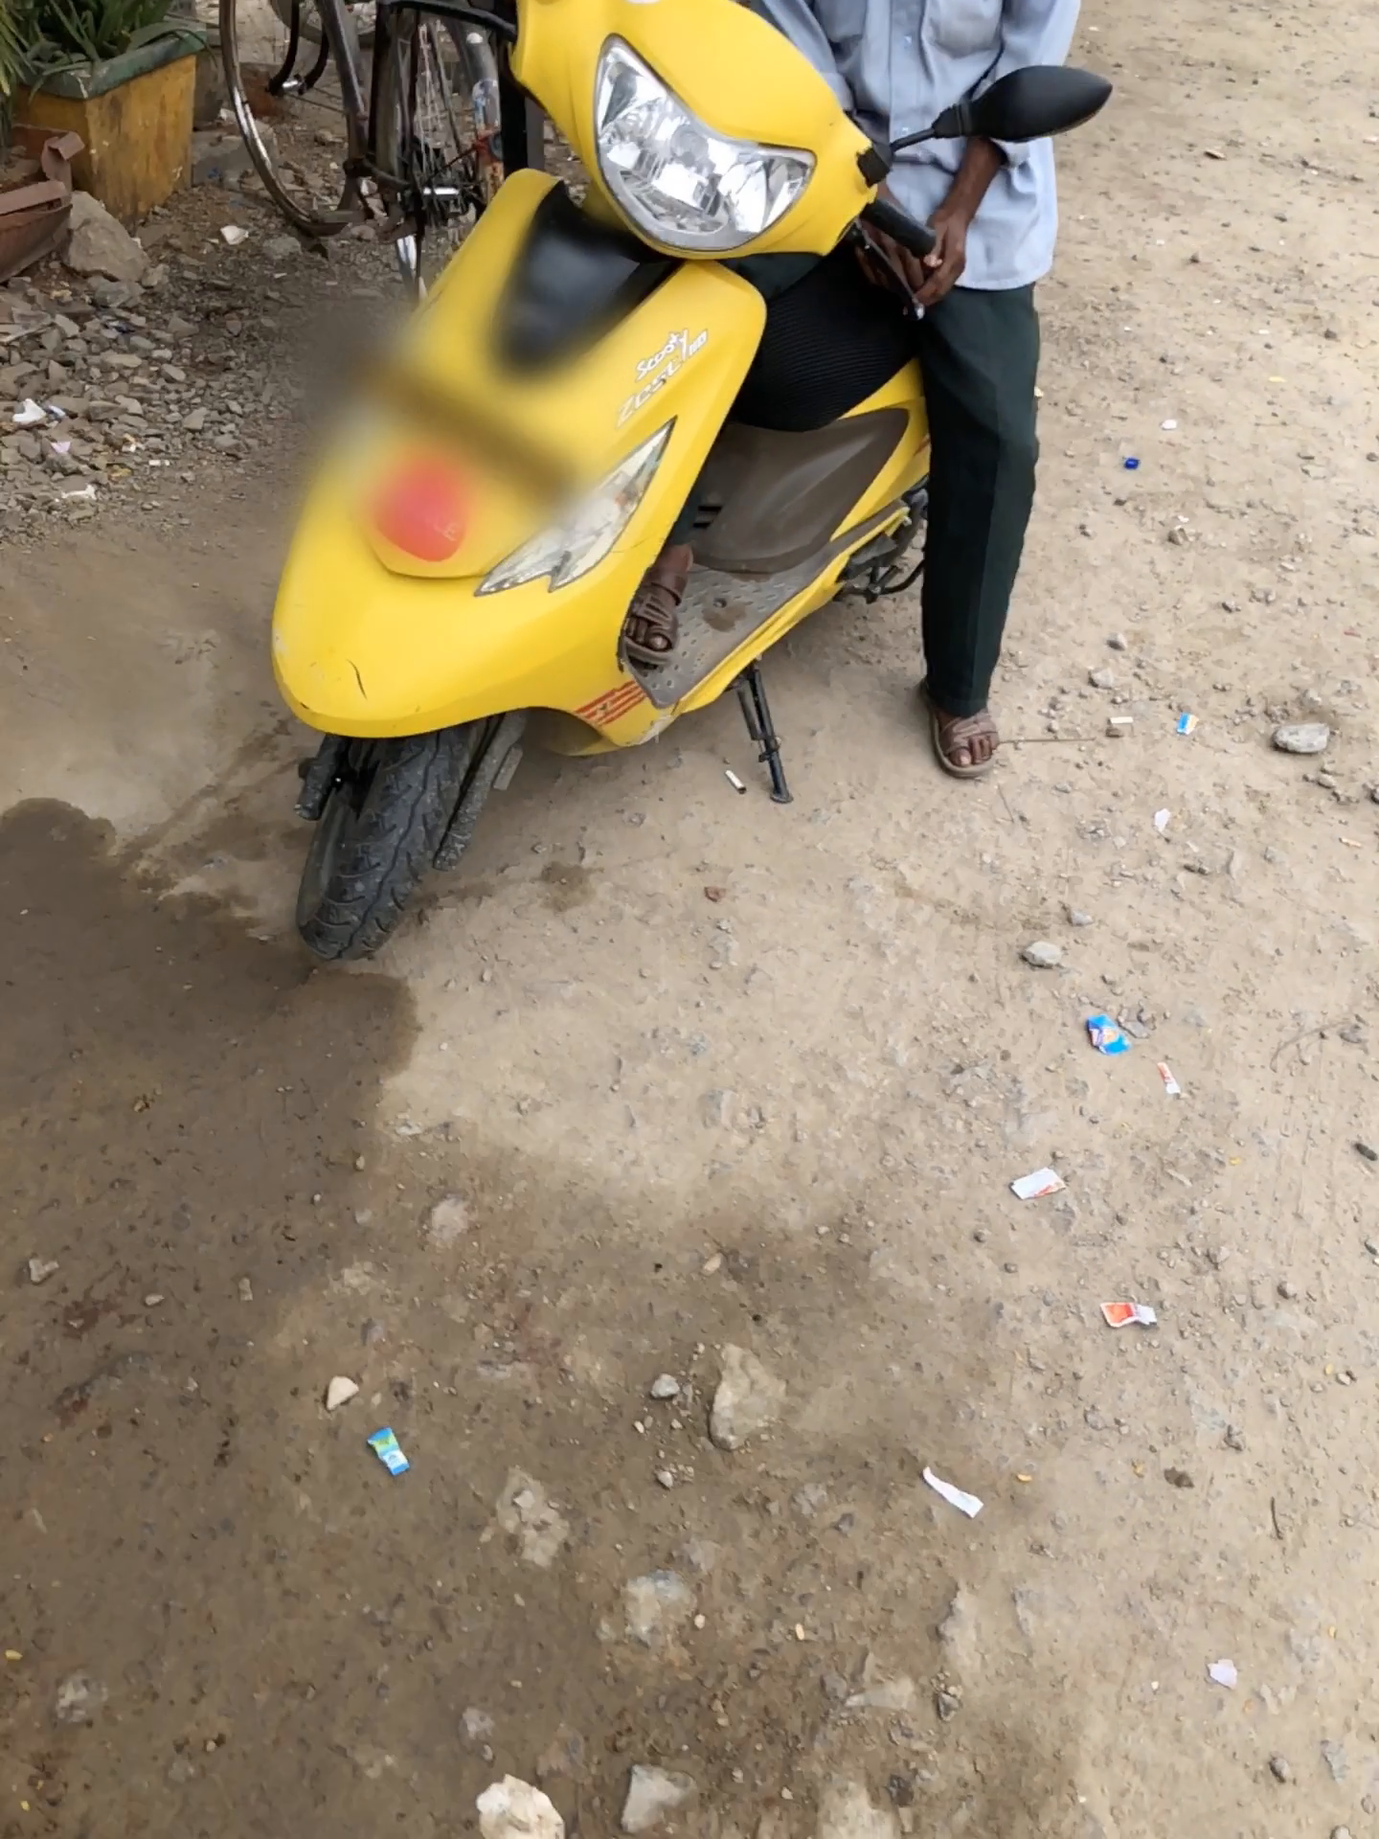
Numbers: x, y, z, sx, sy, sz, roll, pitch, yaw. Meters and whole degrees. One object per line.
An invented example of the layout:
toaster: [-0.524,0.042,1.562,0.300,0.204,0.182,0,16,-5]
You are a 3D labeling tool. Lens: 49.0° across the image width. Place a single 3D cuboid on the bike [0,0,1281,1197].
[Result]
bike: [0.017,-0.719,2.245,0.888,1.161,1.664,24,46,21]
